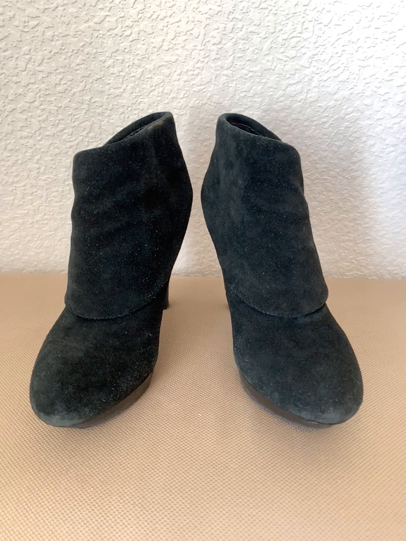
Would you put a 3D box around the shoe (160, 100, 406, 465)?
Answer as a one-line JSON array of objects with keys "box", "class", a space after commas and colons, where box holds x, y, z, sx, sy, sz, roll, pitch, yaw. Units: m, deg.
[{"box": [0.040, -0.019, 0.302, 0.090, 0.166, 0.218, -9, 30, -15], "class": "shoe"}]

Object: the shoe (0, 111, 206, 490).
[{"box": [-0.074, -0.007, 0.298, 0.090, 0.166, 0.218, 9, 30, 16], "class": "shoe"}]
